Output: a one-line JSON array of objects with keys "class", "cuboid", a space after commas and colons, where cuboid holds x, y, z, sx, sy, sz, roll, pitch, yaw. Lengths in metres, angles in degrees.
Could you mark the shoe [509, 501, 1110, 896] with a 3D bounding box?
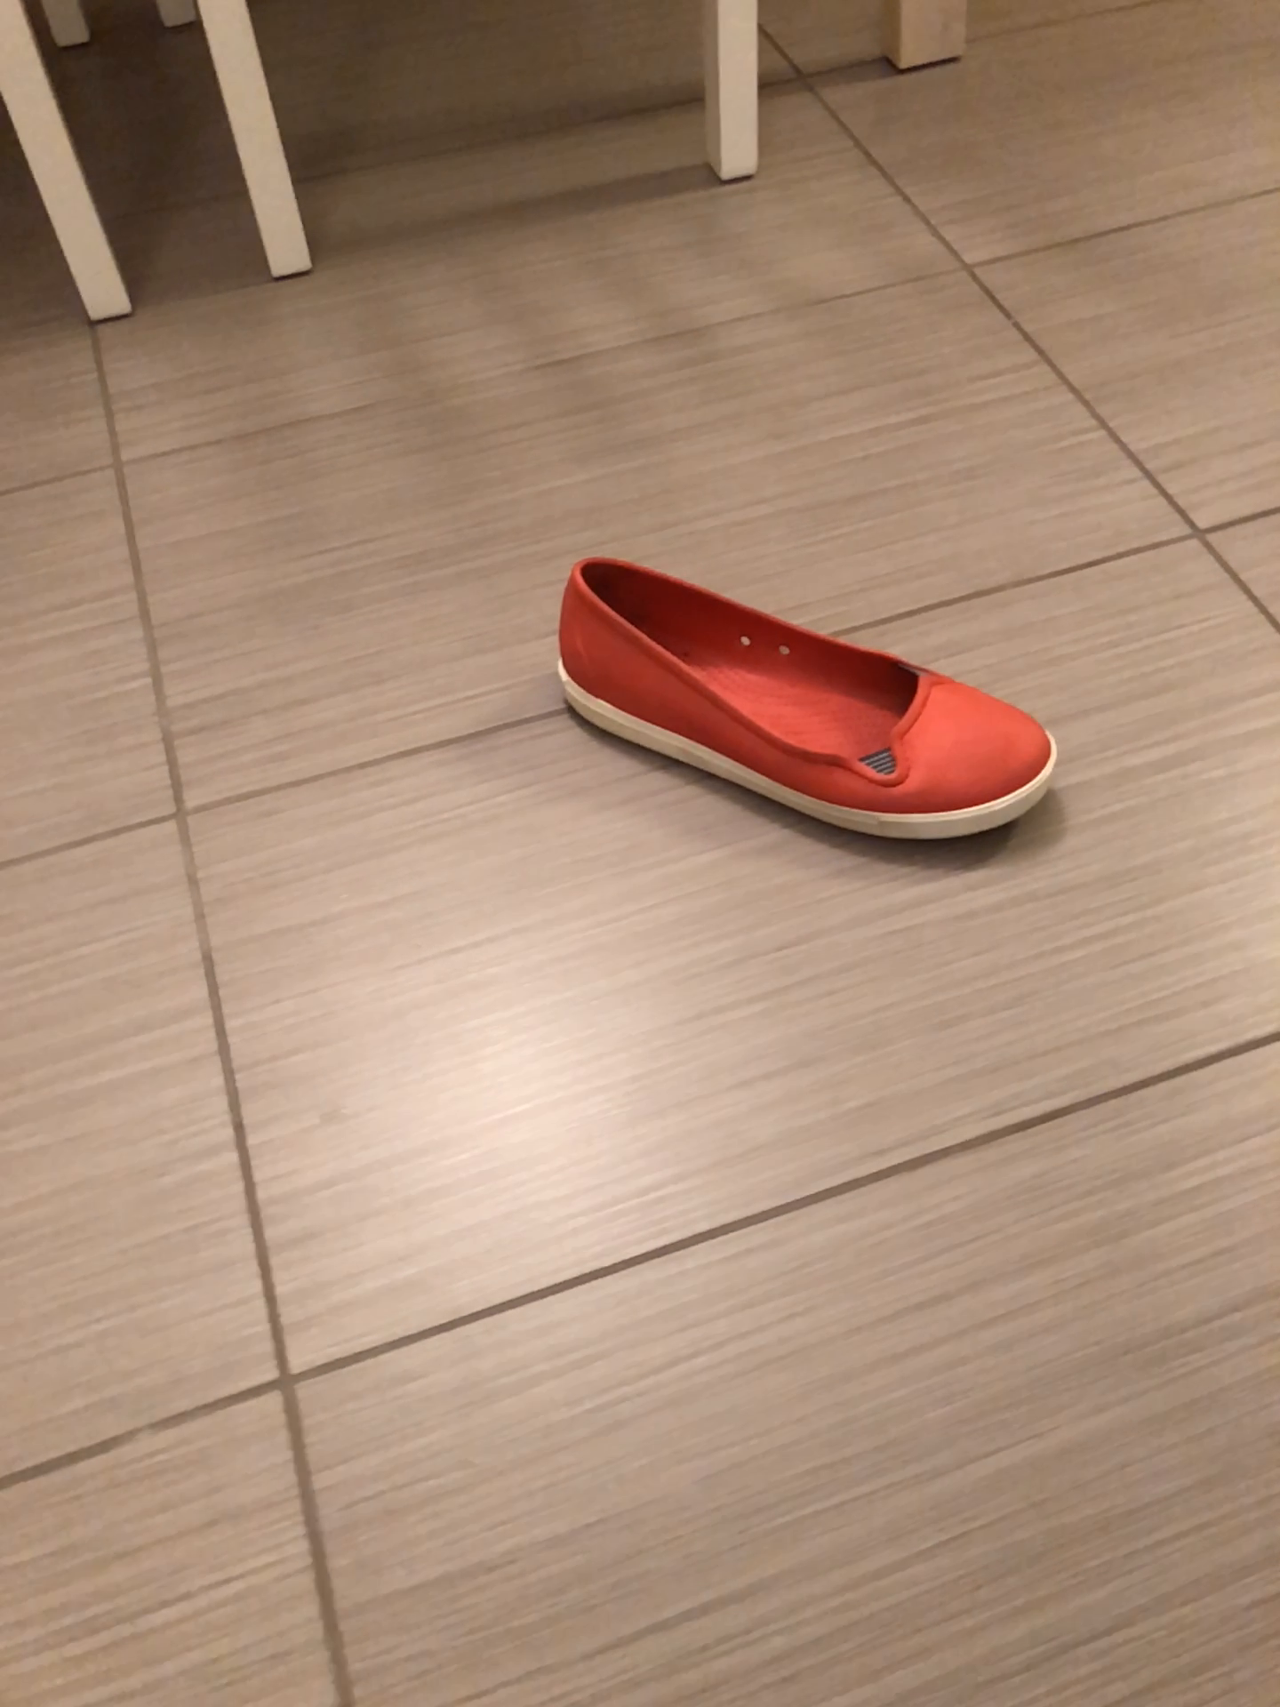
[{"class": "shoe", "cuboid": [0.080, -0.083, 0.705, 0.270, 0.070, 0.100, 21, 57, 18]}]
